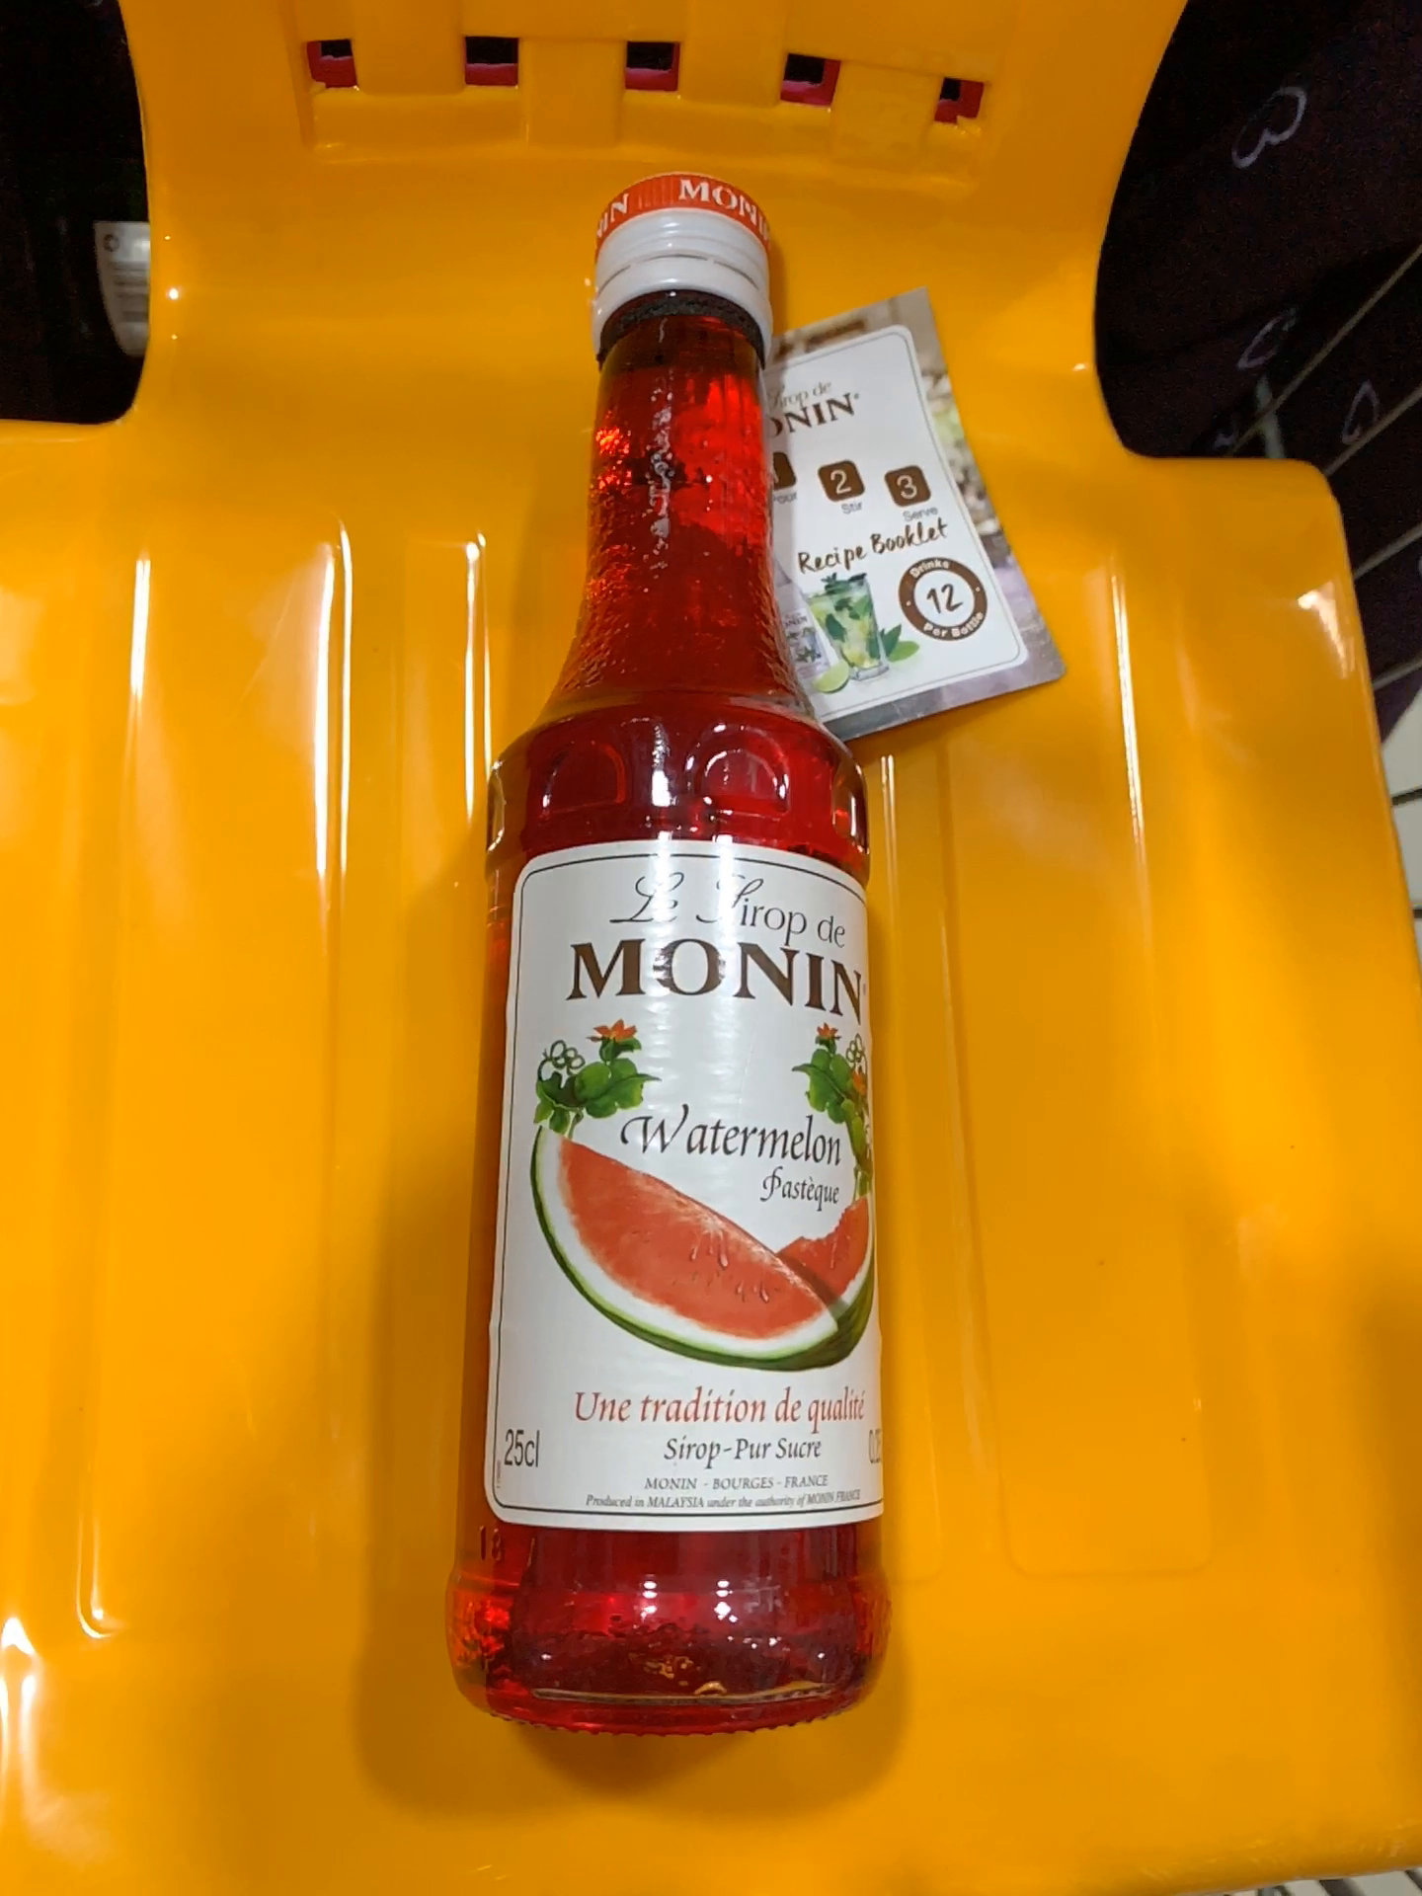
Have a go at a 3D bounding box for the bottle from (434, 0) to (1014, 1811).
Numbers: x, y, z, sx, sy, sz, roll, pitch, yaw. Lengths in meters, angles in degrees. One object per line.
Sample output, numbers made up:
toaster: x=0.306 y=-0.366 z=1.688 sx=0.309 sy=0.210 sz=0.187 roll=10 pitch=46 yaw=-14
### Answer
bottle: x=0.002 y=-0.014 z=0.211 sx=0.060 sy=0.050 sz=0.230 roll=6 pitch=76 yaw=-16
